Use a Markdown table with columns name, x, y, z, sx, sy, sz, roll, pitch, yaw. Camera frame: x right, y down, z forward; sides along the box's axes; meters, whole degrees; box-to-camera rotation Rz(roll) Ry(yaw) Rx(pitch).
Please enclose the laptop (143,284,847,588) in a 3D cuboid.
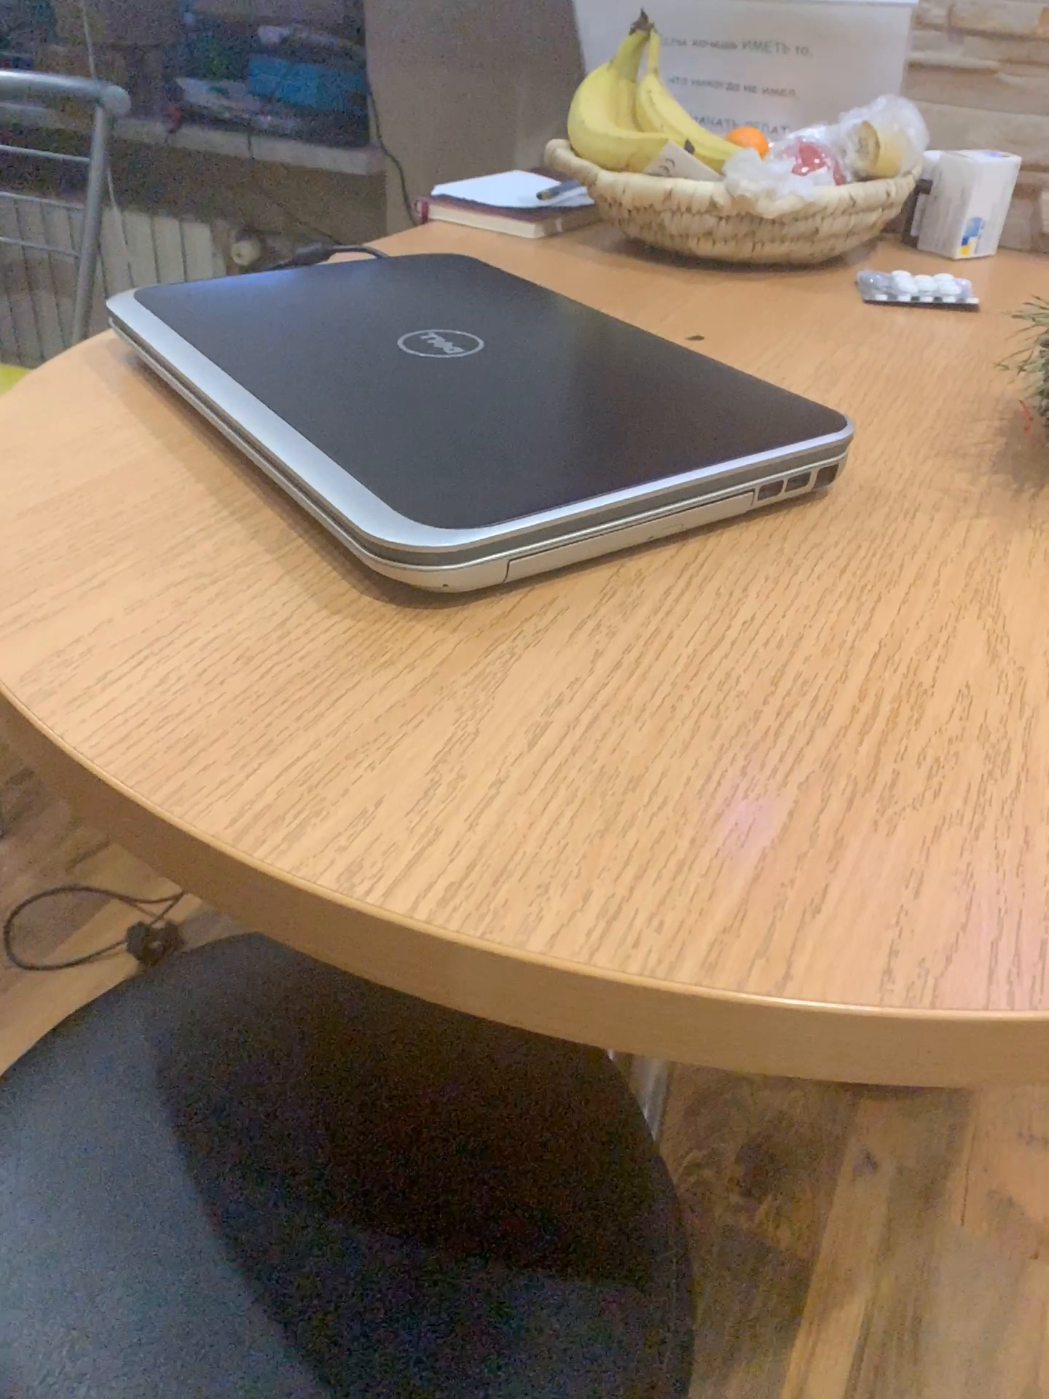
| name | x | y | z | sx | sy | sz | roll | pitch | yaw |
| --- | --- | --- | --- | --- | --- | --- | --- | --- | --- |
| laptop | -0.040 | -0.161 | 0.562 | 0.225 | 0.004 | 0.350 | -19 | 39 | -25 |
